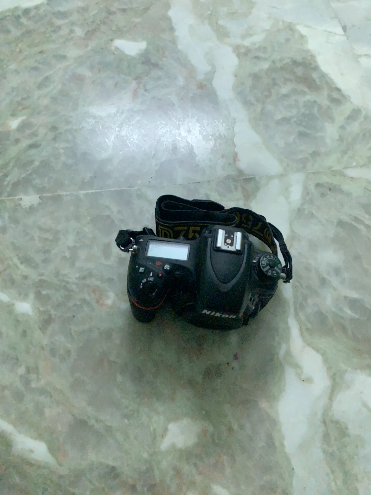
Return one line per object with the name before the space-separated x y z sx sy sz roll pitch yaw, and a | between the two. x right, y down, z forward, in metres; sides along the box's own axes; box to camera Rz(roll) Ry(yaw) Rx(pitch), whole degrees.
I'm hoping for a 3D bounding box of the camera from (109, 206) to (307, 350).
camera | 0.018 0.033 0.346 0.150 0.100 0.080 8 64 -1
